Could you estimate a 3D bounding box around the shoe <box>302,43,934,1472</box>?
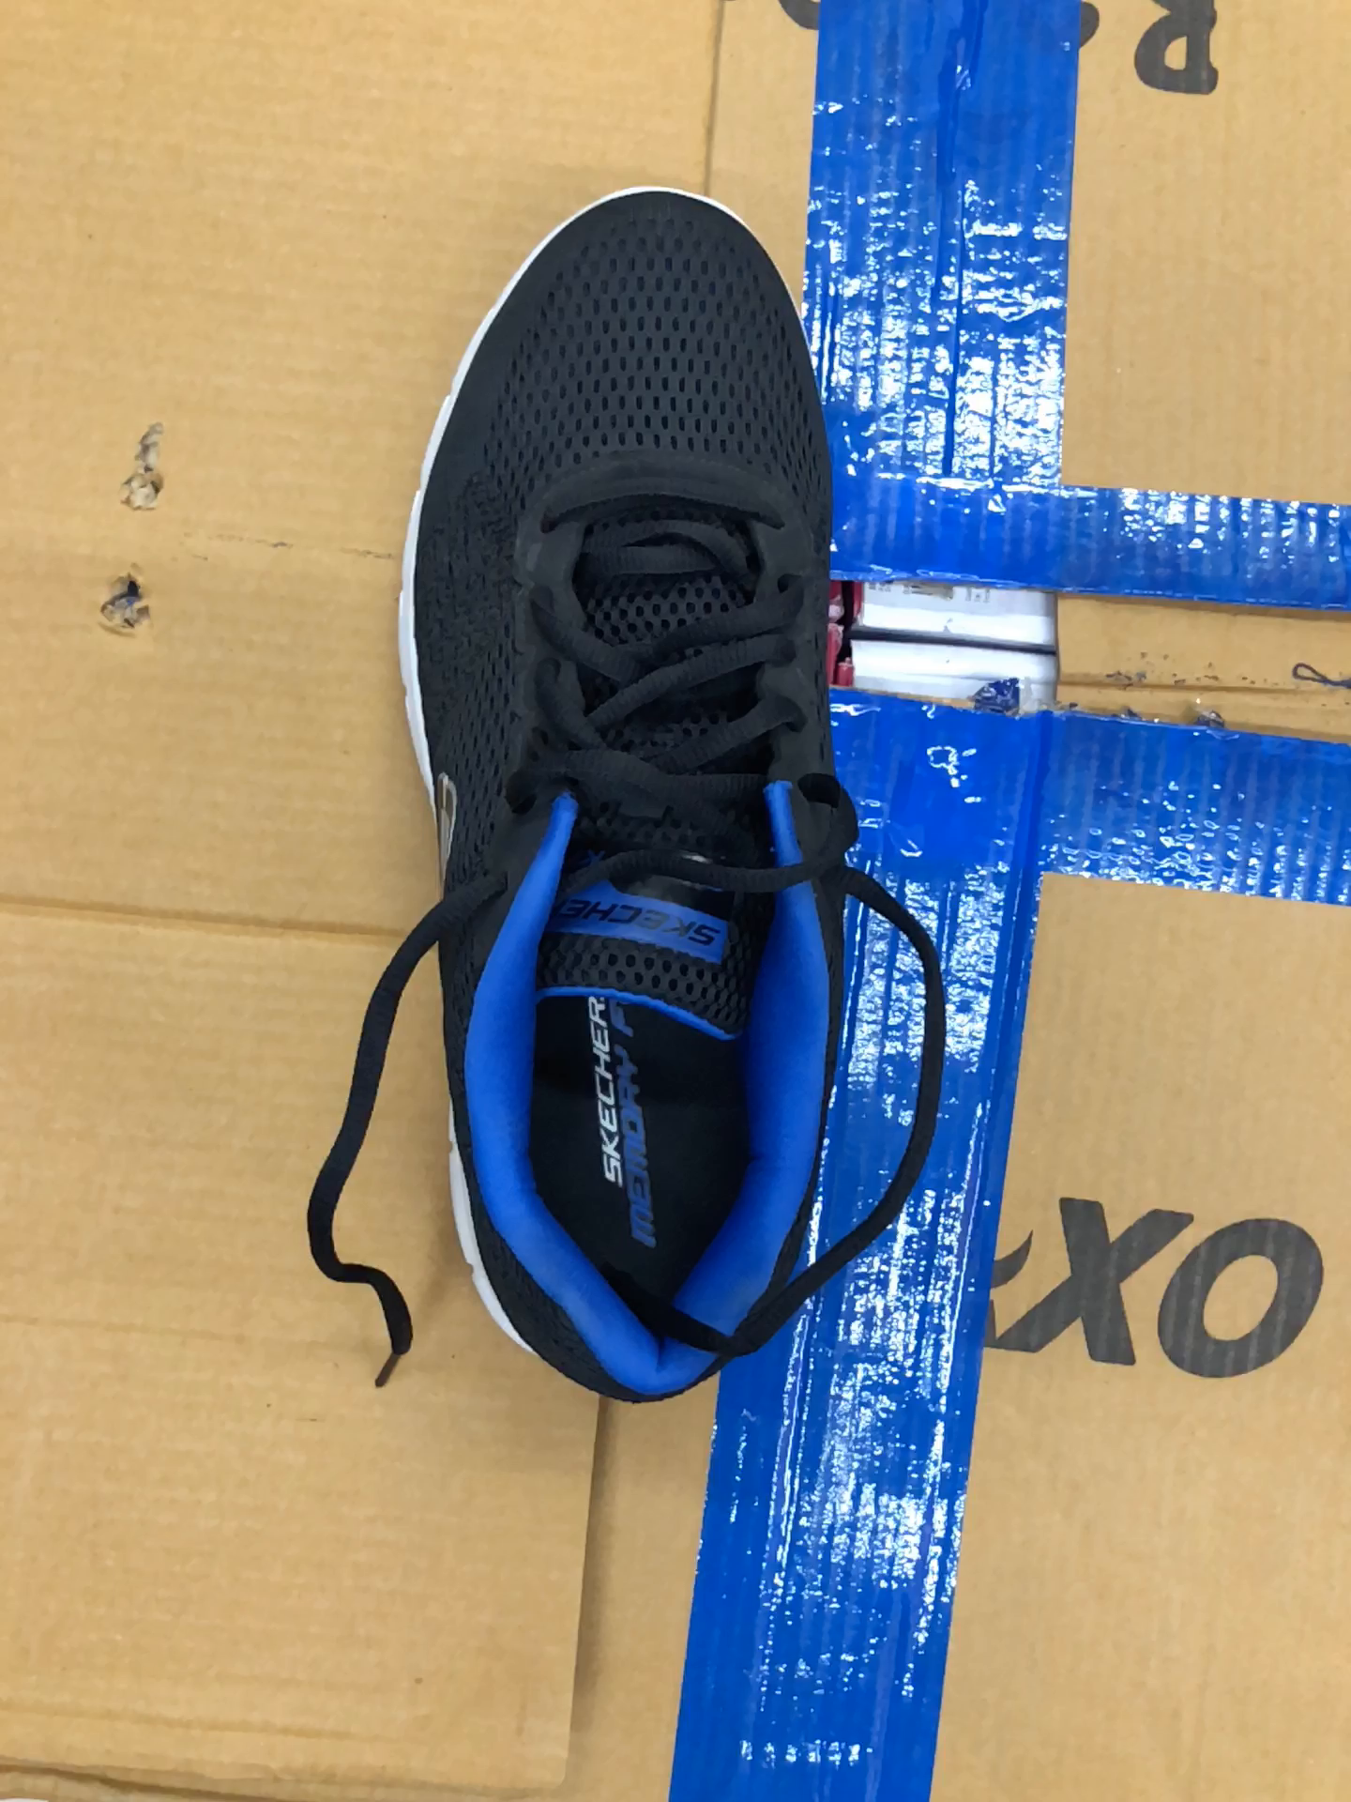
[{"bbox_3d":[-0.012,-0.027,0.353,0.110,0.130,0.270,2,89,-2],"label":"shoe"}]
